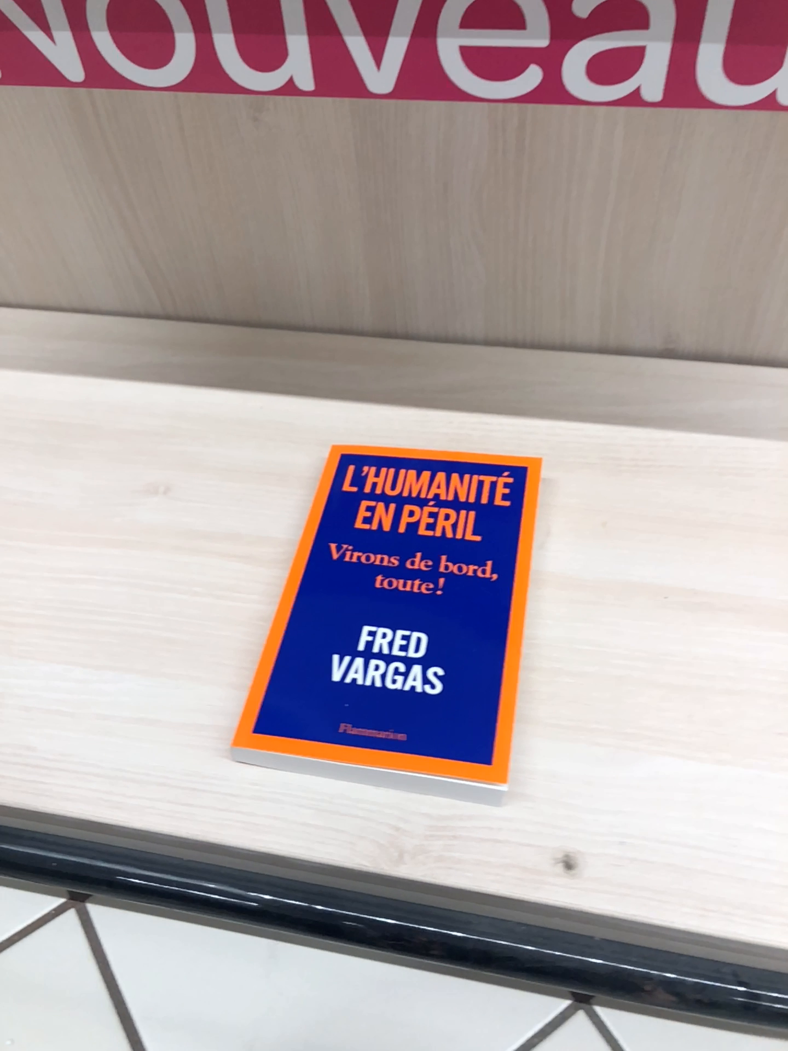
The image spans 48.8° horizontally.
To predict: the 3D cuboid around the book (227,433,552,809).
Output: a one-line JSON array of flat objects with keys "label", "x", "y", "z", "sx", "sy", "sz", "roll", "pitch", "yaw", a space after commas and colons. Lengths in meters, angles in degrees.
[{"label": "book", "x": 0.008, "y": 0.038, "z": 0.476, "sx": 0.137, "sy": 0.030, "sz": 0.208, "roll": 6, "pitch": 51, "yaw": 9}]
